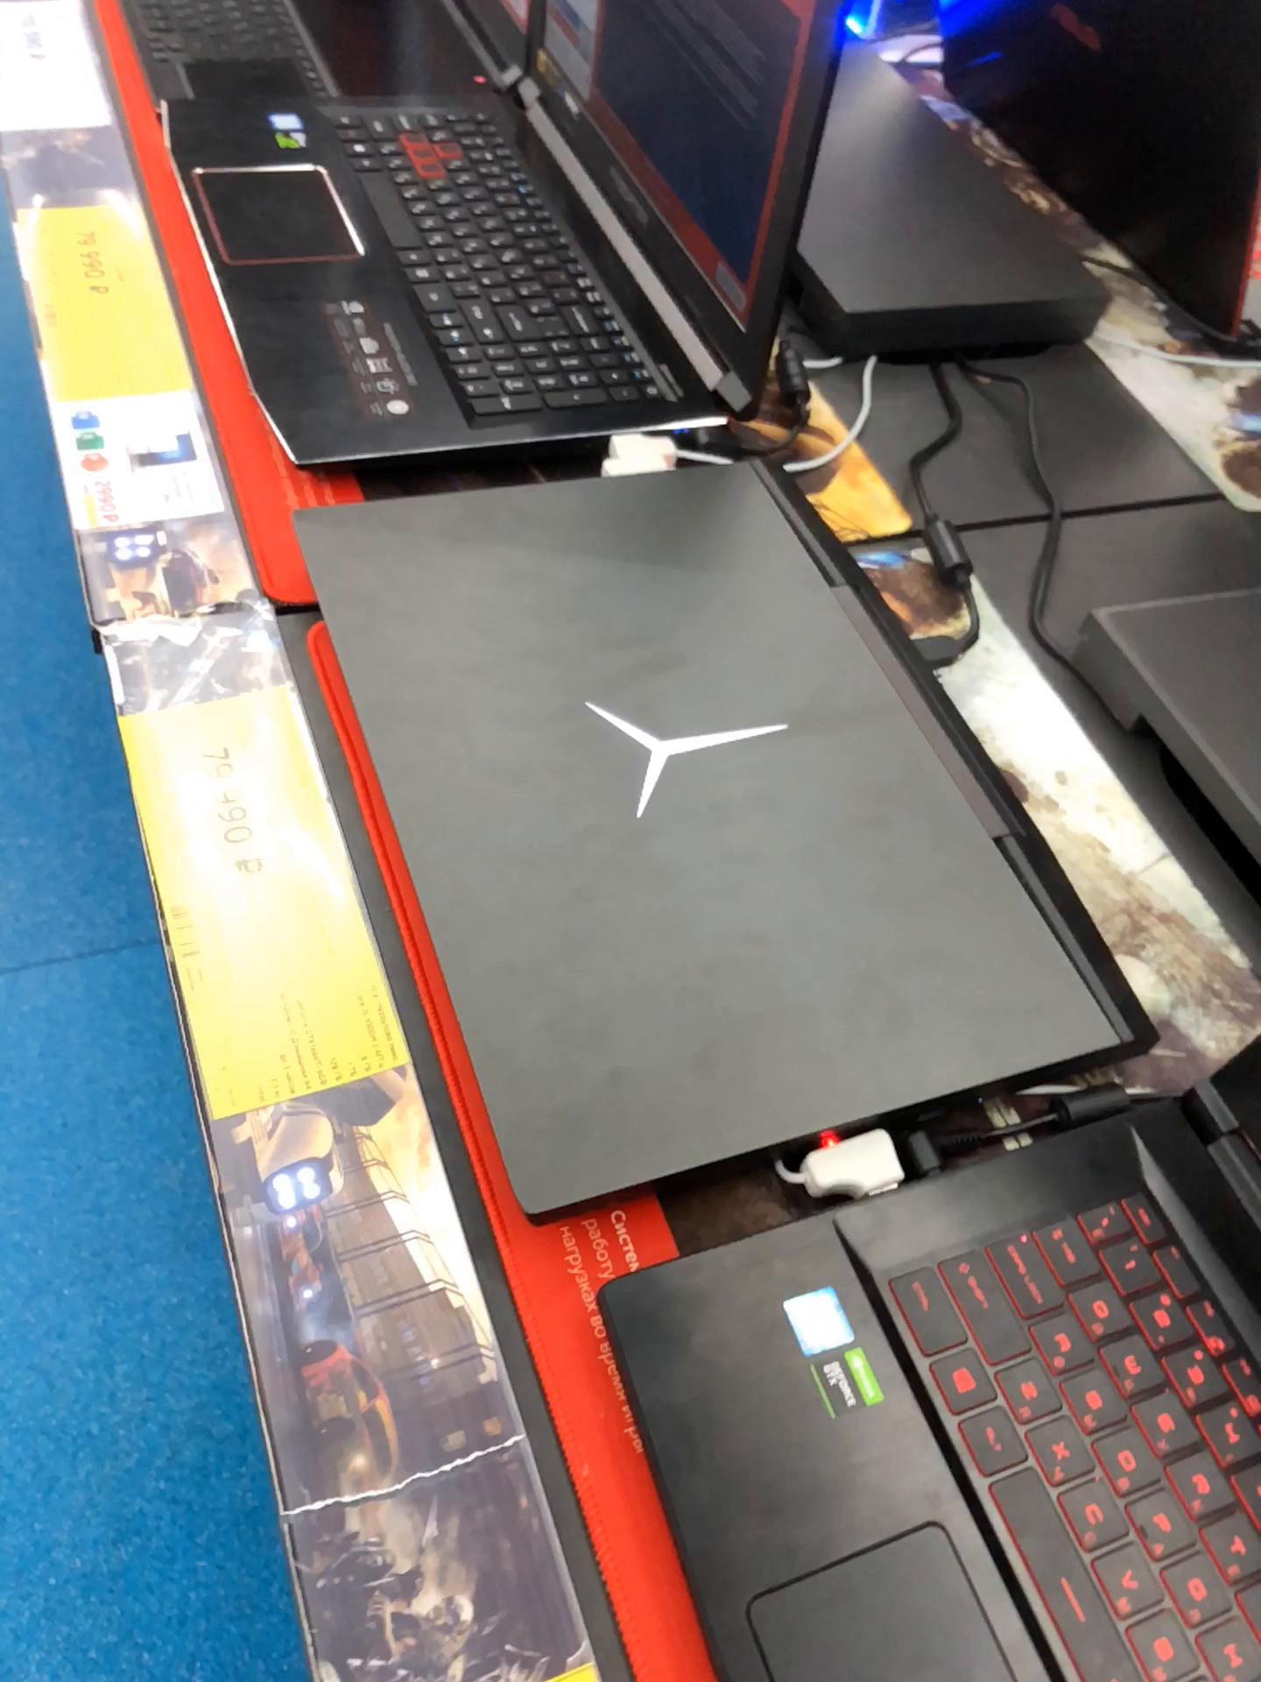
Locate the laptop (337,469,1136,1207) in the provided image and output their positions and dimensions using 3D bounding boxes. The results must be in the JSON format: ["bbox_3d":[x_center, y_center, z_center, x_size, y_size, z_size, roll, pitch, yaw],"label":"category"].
[{"bbox_3d":[0.027,-0.036,0.588,0.227,0.007,0.344,-12,54,-18],"label":"laptop"}]
